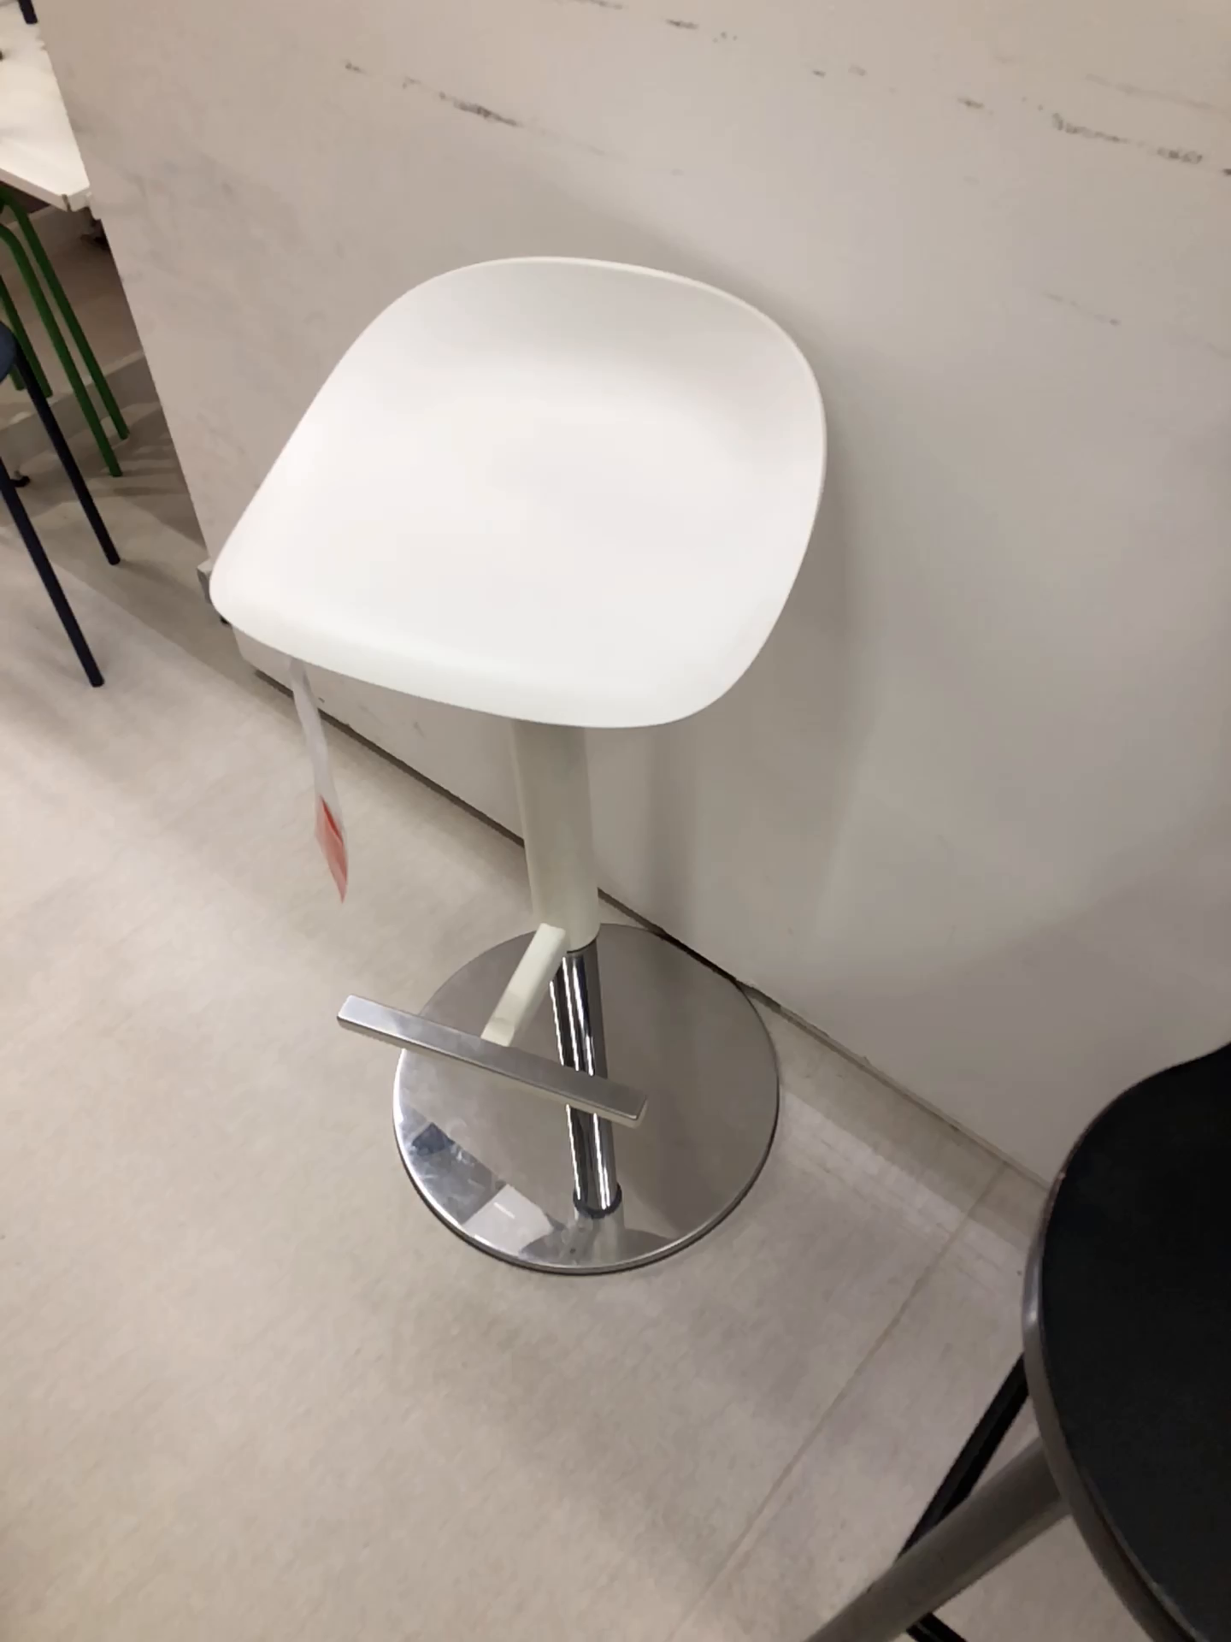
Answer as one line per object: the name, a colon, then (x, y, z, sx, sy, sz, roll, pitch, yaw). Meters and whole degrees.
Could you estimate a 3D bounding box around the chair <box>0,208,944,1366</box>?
chair: (-0.057, 0.001, 1.122, 0.440, 0.746, 0.513, 16, 51, 16)
